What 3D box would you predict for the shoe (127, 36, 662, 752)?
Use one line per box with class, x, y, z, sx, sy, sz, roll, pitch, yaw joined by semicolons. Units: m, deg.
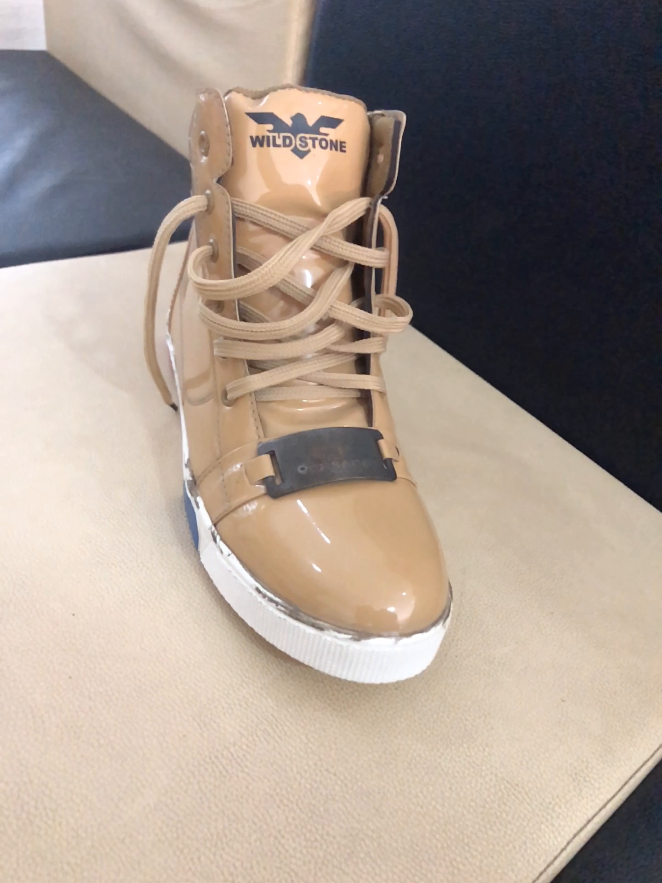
shoe;-0.015;-0.047;0.322;0.100;0.159;0.281;-6;42;-22
